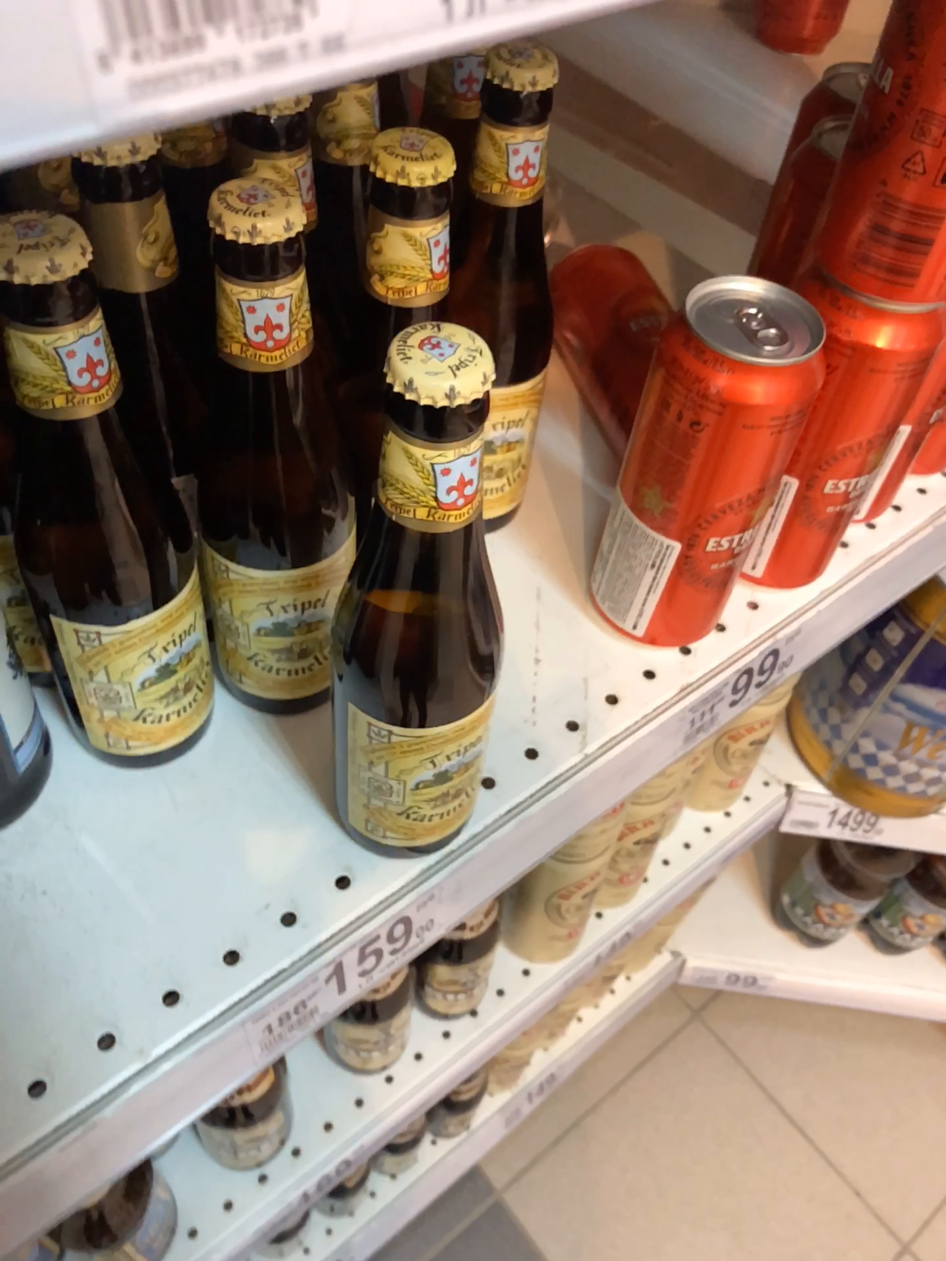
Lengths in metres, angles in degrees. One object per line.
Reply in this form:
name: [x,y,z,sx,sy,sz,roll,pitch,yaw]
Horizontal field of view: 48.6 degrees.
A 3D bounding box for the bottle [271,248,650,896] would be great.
bottle: [-0.015,-0.003,0.353,0.070,0.219,0.070,4,51,-5]
